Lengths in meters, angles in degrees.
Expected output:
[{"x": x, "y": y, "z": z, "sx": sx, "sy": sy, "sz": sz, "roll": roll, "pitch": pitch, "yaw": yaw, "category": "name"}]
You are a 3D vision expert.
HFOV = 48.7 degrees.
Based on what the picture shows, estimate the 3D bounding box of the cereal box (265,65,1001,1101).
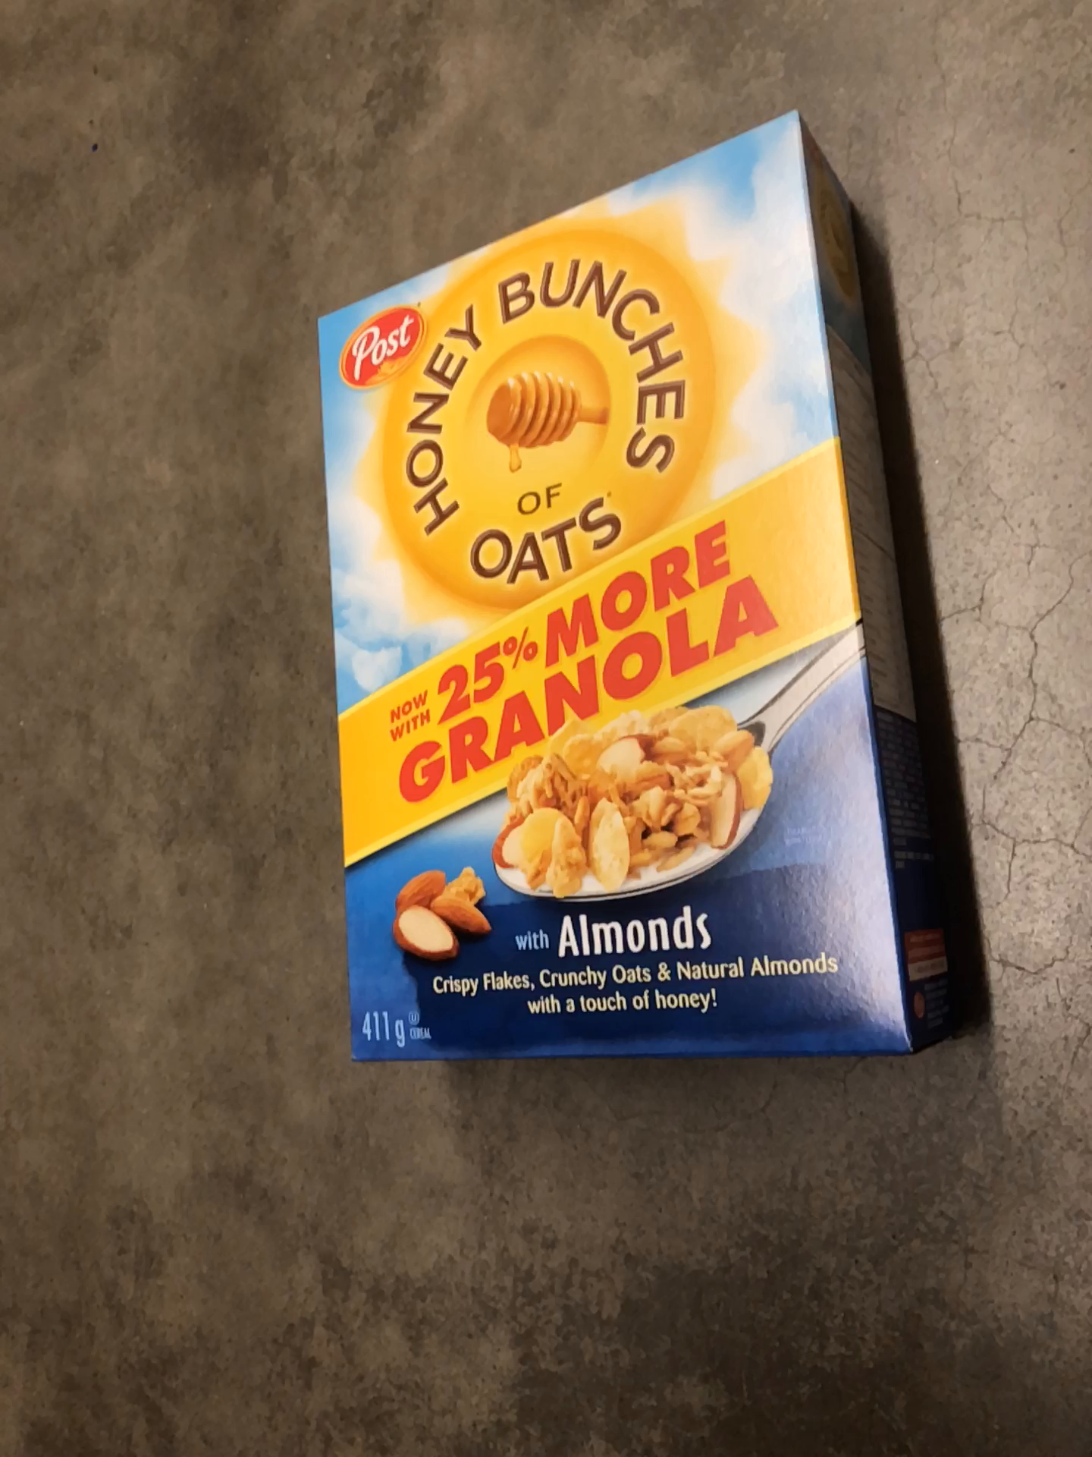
[{"x": 0.013, "y": -0.027, "z": 0.380, "sx": 0.201, "sy": 0.060, "sz": 0.270, "roll": -11, "pitch": 79, "yaw": 31, "category": "cereal box"}]
